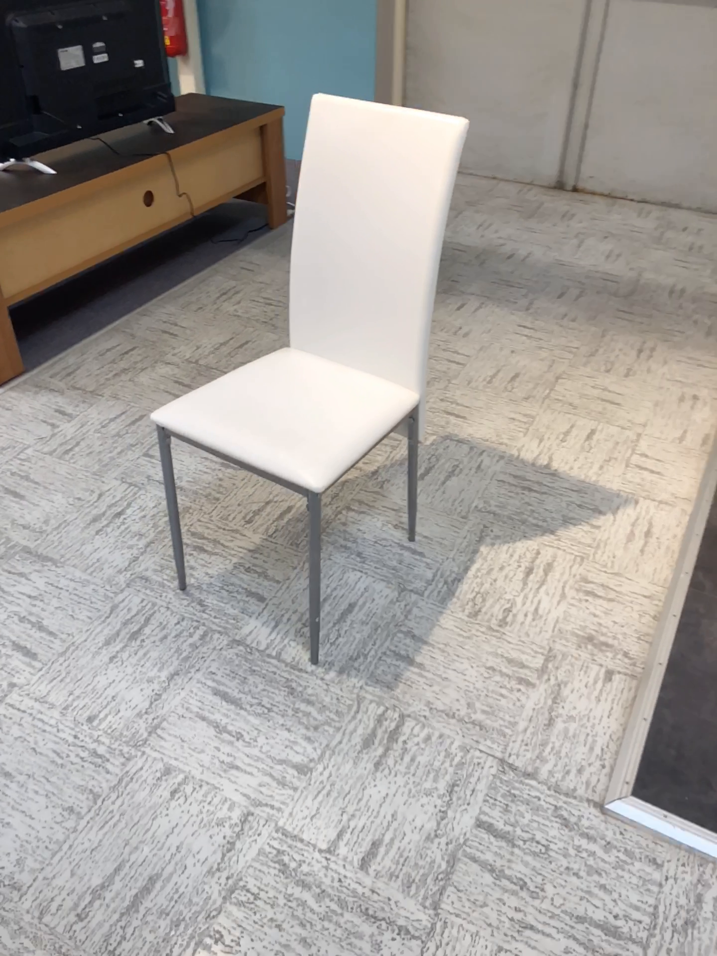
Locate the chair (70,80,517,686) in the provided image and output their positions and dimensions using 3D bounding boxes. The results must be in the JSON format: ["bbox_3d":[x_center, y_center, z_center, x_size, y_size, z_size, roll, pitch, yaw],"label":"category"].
[{"bbox_3d":[-0.088,-0.188,1.533,0.470,0.944,0.553,24,43,27],"label":"chair"}]
